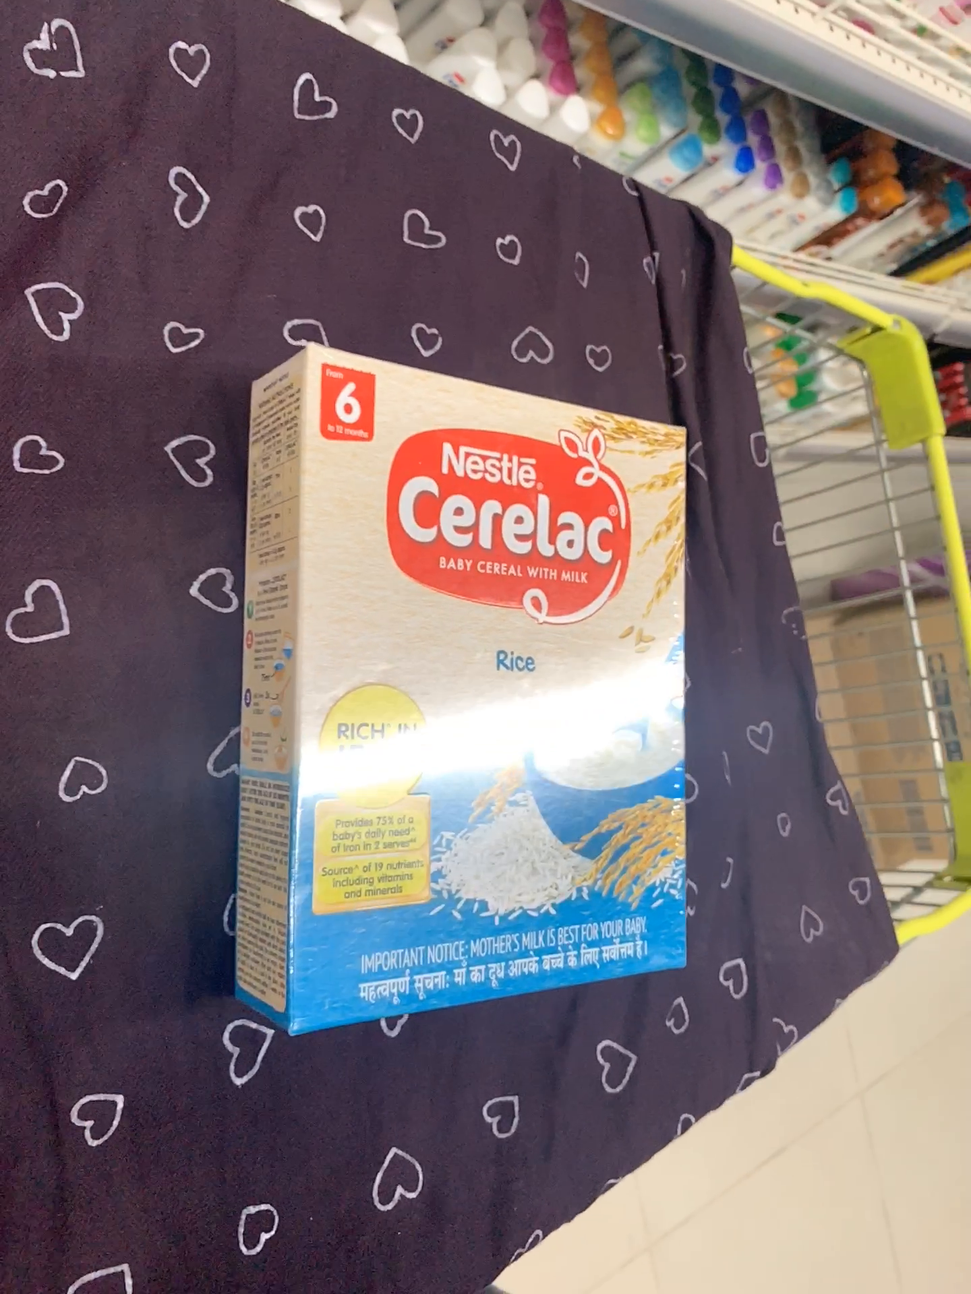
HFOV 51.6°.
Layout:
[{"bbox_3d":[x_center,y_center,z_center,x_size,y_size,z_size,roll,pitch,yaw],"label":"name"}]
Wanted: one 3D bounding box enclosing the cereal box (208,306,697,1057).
[{"bbox_3d":[-0.004,0.011,0.329,0.161,0.040,0.200,3,85,-35],"label":"cereal box"}]
